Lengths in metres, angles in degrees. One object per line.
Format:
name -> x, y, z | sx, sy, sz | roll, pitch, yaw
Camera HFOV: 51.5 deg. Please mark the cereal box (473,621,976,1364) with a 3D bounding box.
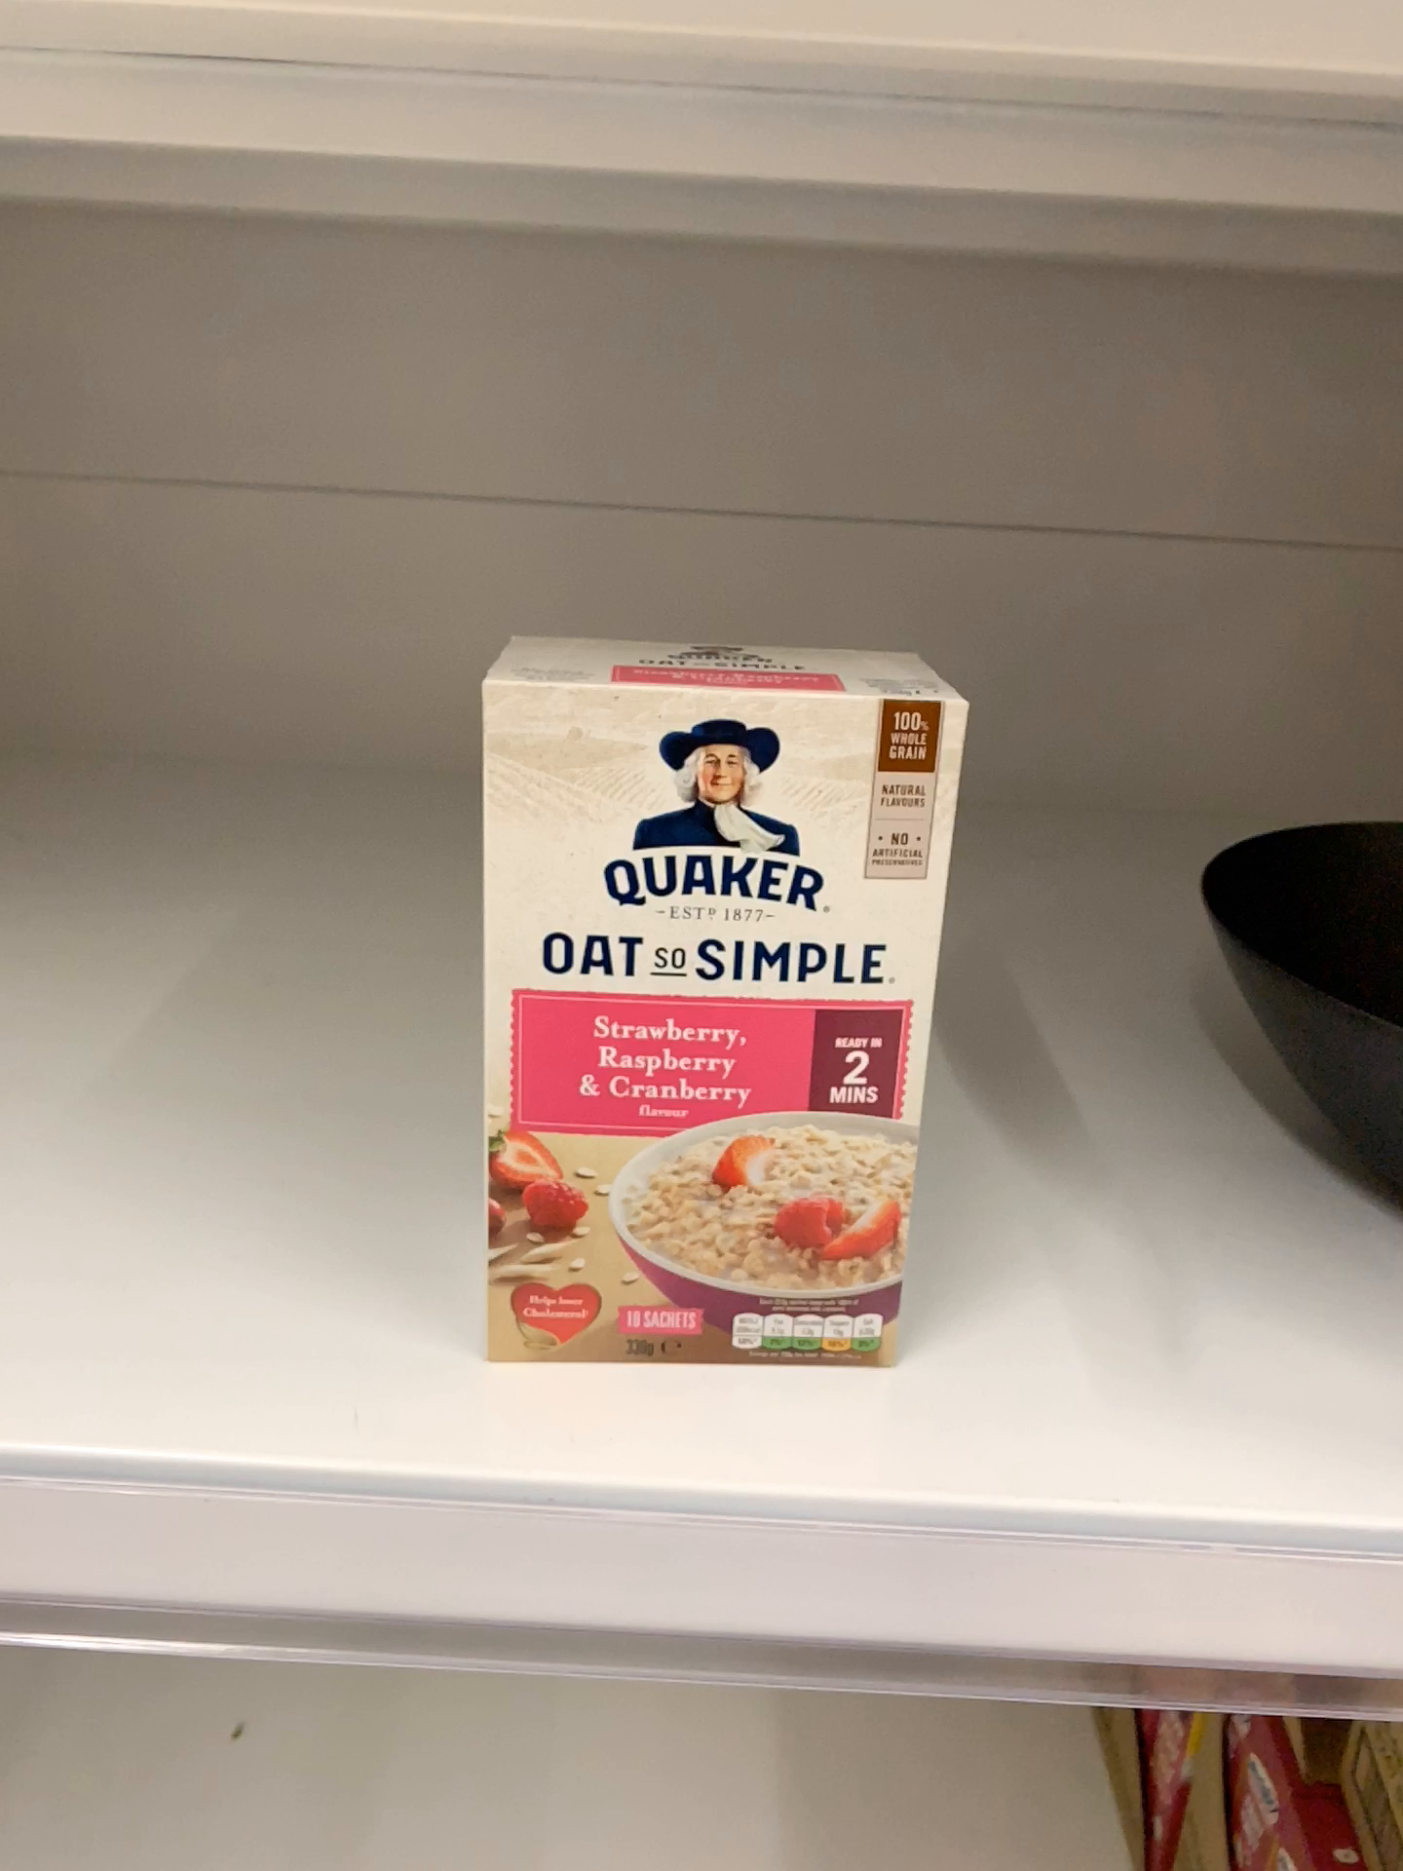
cereal box -> -0.001, 0.018, 0.447 | 0.130, 0.208, 0.081 | 2, 20, -4
